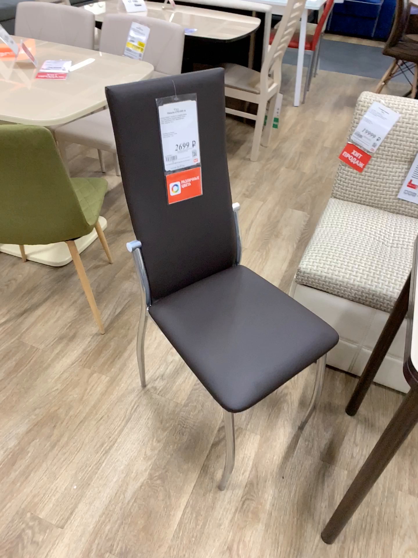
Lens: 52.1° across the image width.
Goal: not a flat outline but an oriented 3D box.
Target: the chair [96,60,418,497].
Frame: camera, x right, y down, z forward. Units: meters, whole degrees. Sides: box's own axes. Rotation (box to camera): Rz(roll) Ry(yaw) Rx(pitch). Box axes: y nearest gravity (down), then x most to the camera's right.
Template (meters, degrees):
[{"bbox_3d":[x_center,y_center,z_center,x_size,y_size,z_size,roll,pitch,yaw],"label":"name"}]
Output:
[{"bbox_3d":[0.059,0.039,1.156,0.421,0.995,0.501,-24,48,-28],"label":"chair"}]
